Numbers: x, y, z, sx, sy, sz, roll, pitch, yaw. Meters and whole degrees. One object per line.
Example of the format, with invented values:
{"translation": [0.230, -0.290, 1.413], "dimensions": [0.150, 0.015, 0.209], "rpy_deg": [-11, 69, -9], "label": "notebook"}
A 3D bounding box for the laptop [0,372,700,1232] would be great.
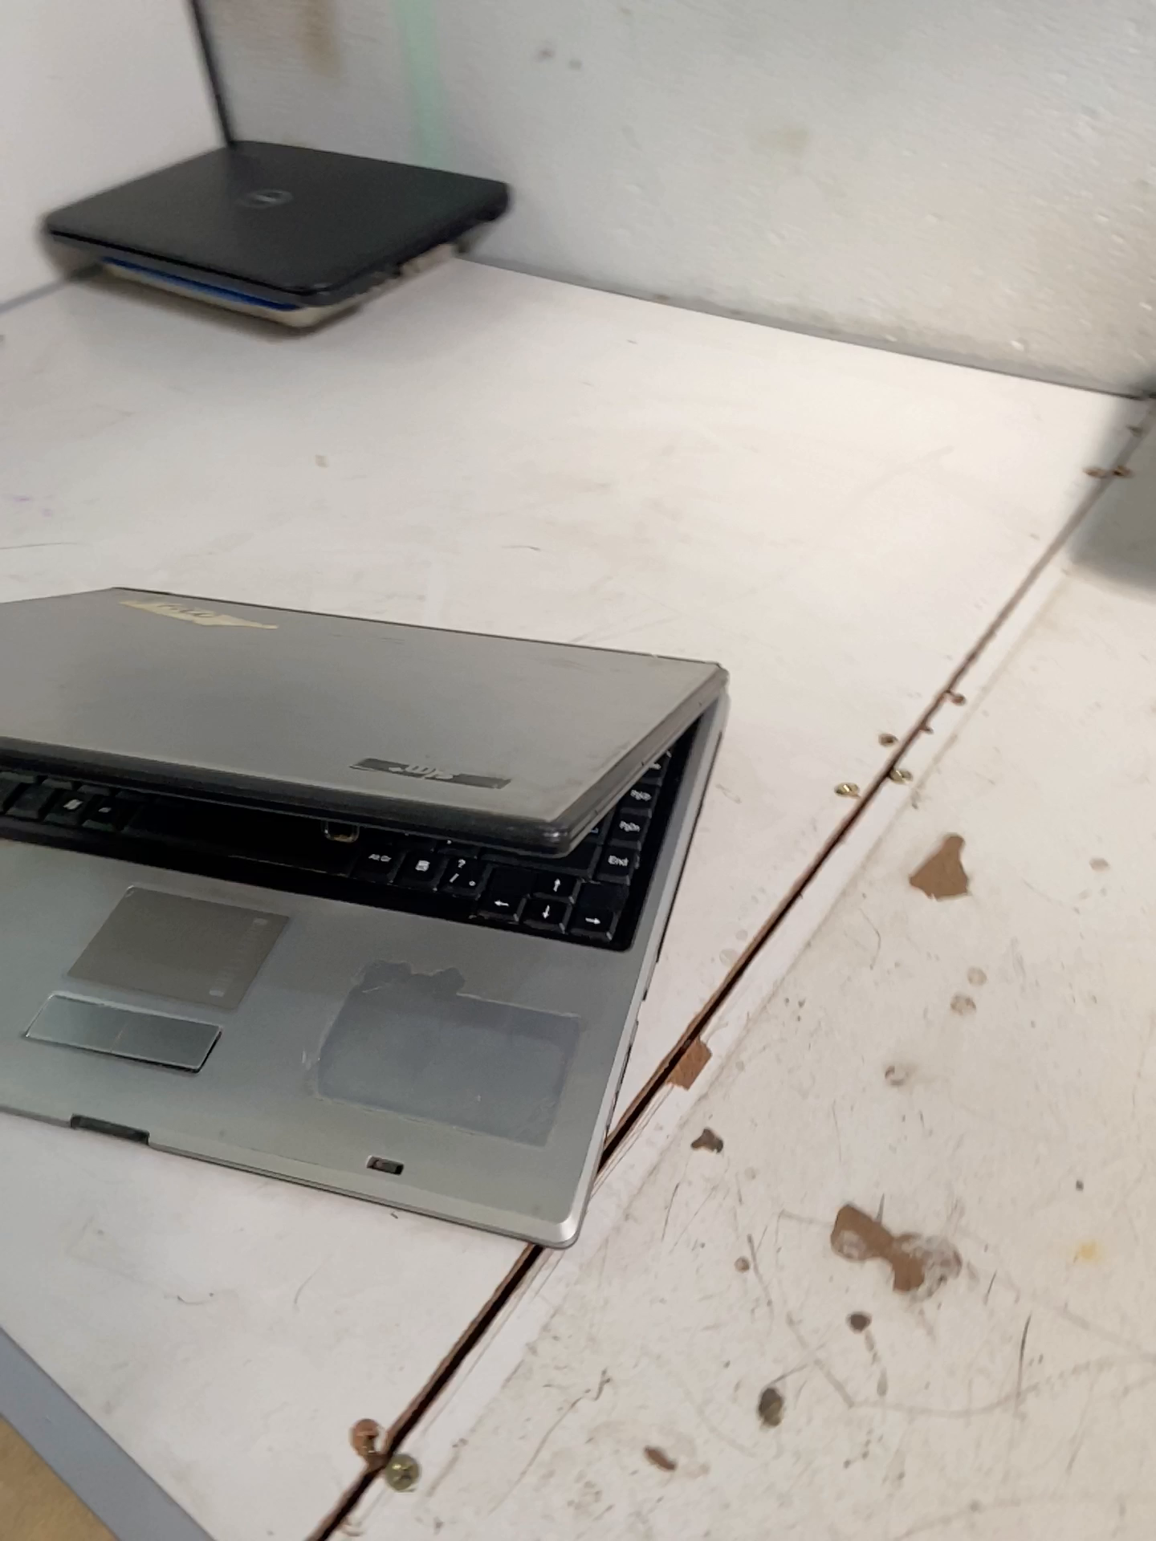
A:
{"translation": [-0.132, -0.021, 0.445], "dimensions": [0.317, 0.130, 0.255], "rpy_deg": [8, 45, 16], "label": "laptop"}
